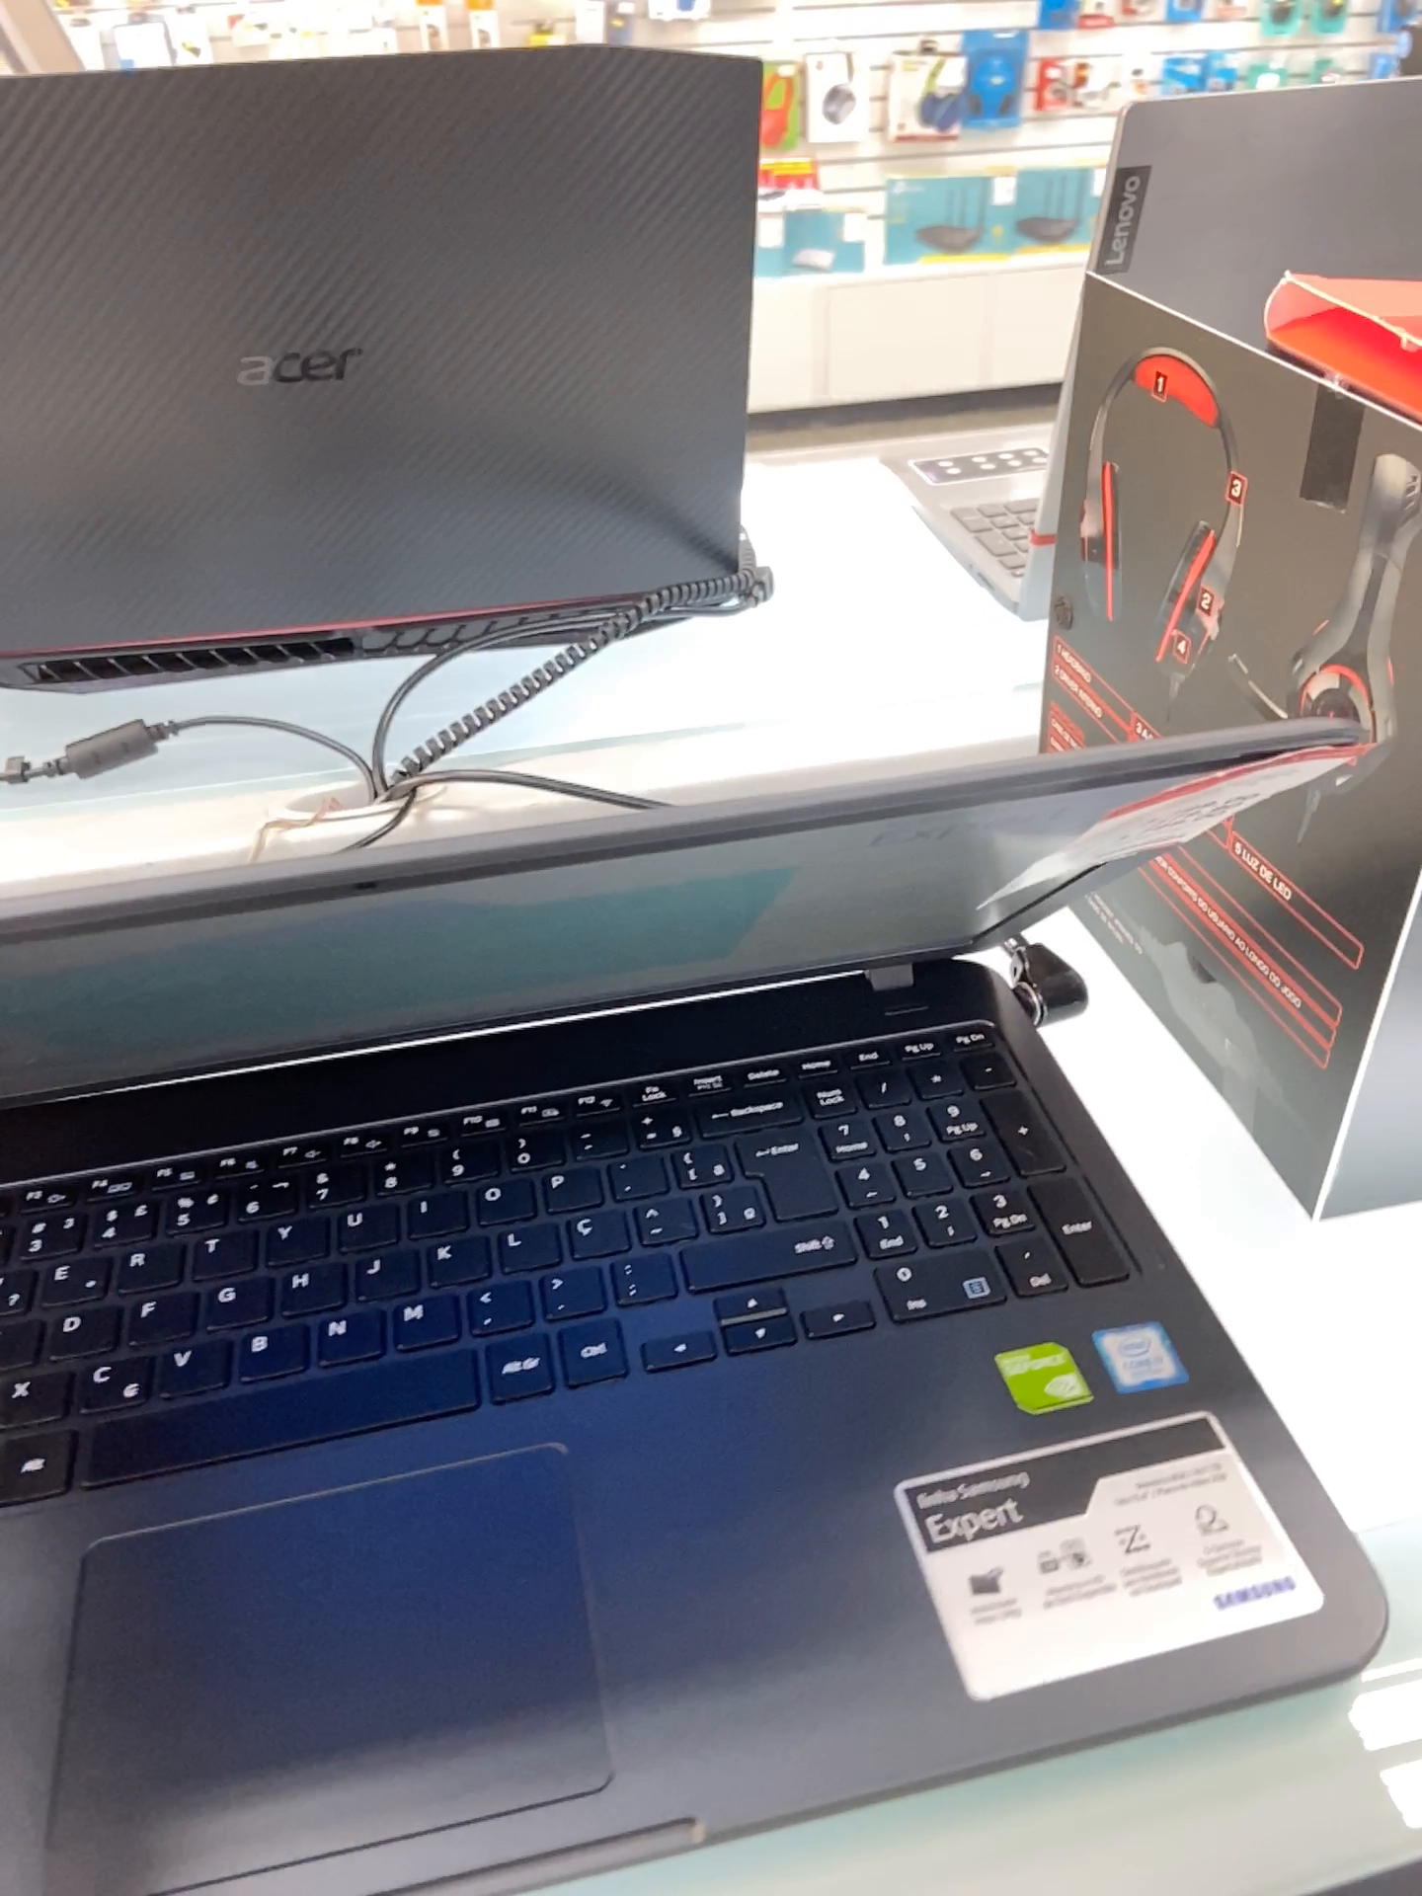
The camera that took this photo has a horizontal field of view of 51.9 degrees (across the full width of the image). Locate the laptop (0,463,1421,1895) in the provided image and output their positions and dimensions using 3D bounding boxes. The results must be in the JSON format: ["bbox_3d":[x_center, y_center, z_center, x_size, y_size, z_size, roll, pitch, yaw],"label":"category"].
[{"bbox_3d":[-0.067,0.033,0.324,0.371,0.170,0.238,-9,36,-8],"label":"laptop"}]
